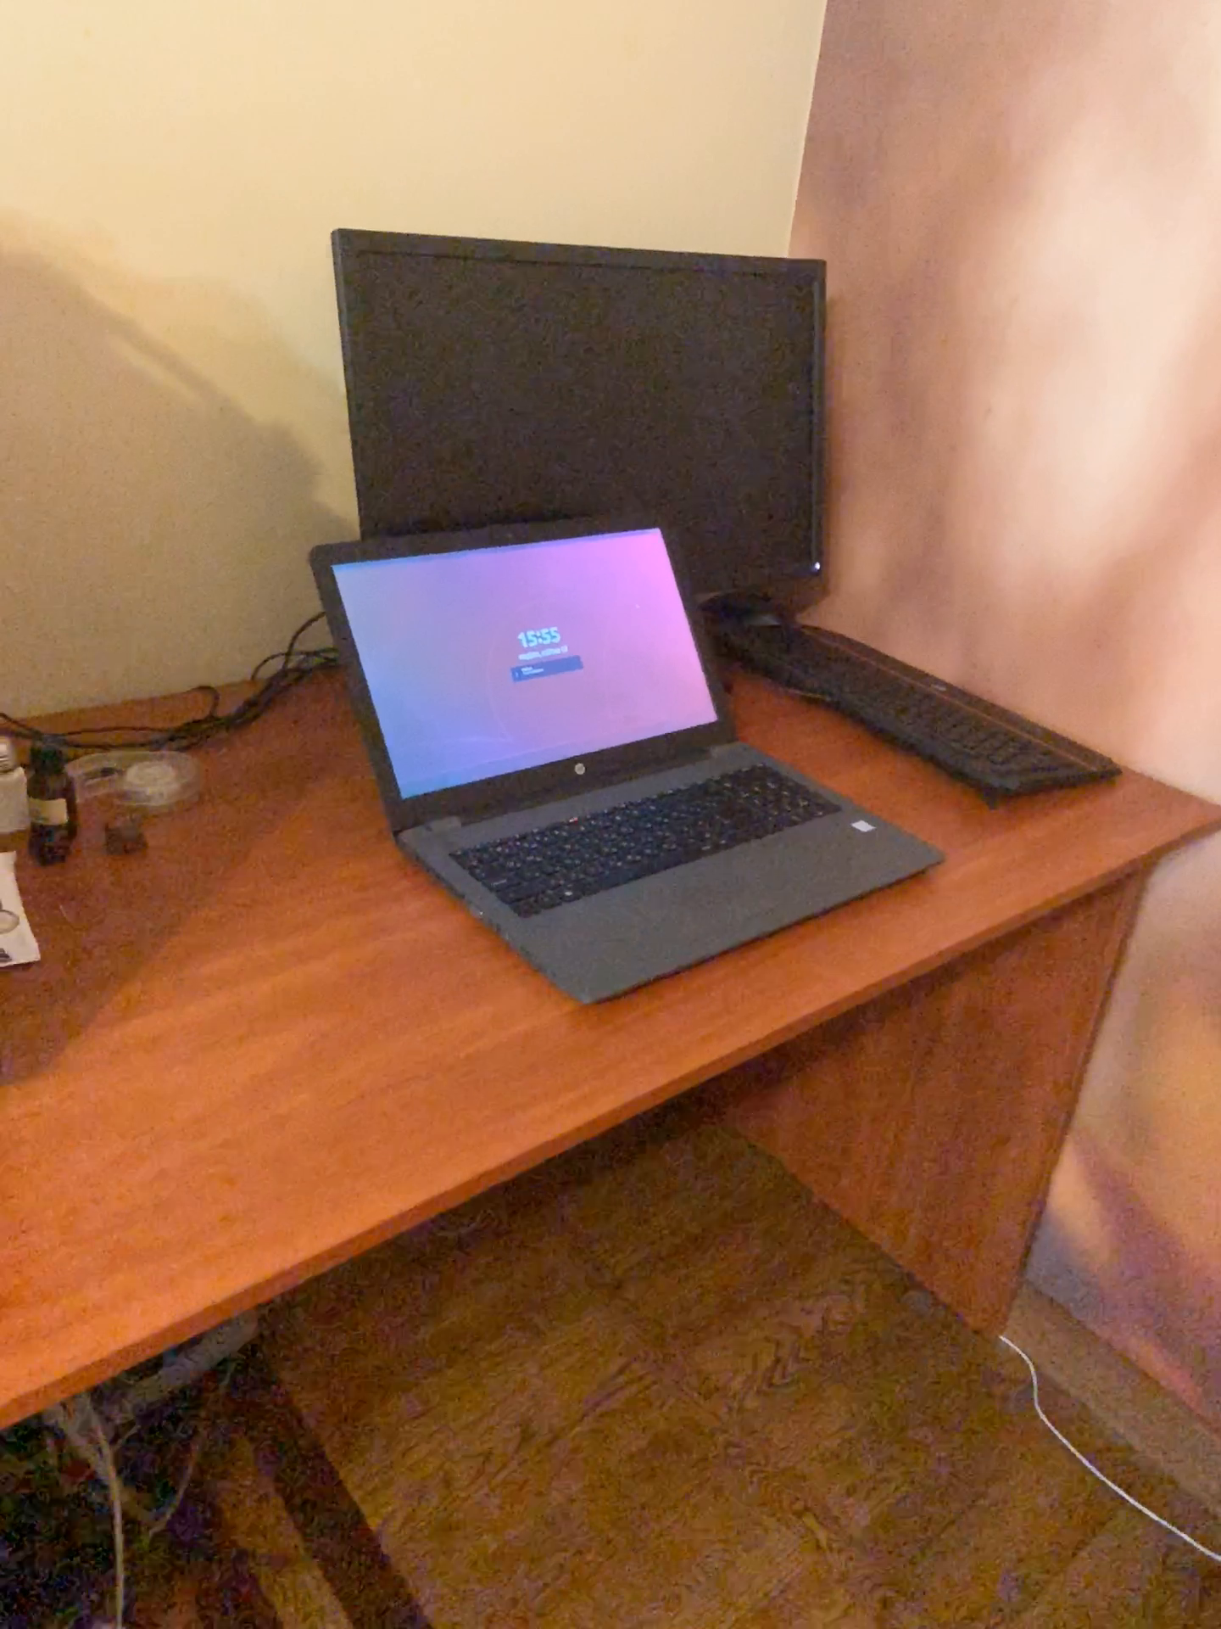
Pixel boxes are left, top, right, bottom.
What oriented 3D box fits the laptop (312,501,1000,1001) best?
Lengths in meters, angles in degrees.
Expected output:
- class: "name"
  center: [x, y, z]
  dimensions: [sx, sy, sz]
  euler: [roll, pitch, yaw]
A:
- class: "laptop"
  center: [0.021, -0.088, 0.969]
  dimensions: [0.367, 0.181, 0.375]
  euler: [-16, 36, -36]
